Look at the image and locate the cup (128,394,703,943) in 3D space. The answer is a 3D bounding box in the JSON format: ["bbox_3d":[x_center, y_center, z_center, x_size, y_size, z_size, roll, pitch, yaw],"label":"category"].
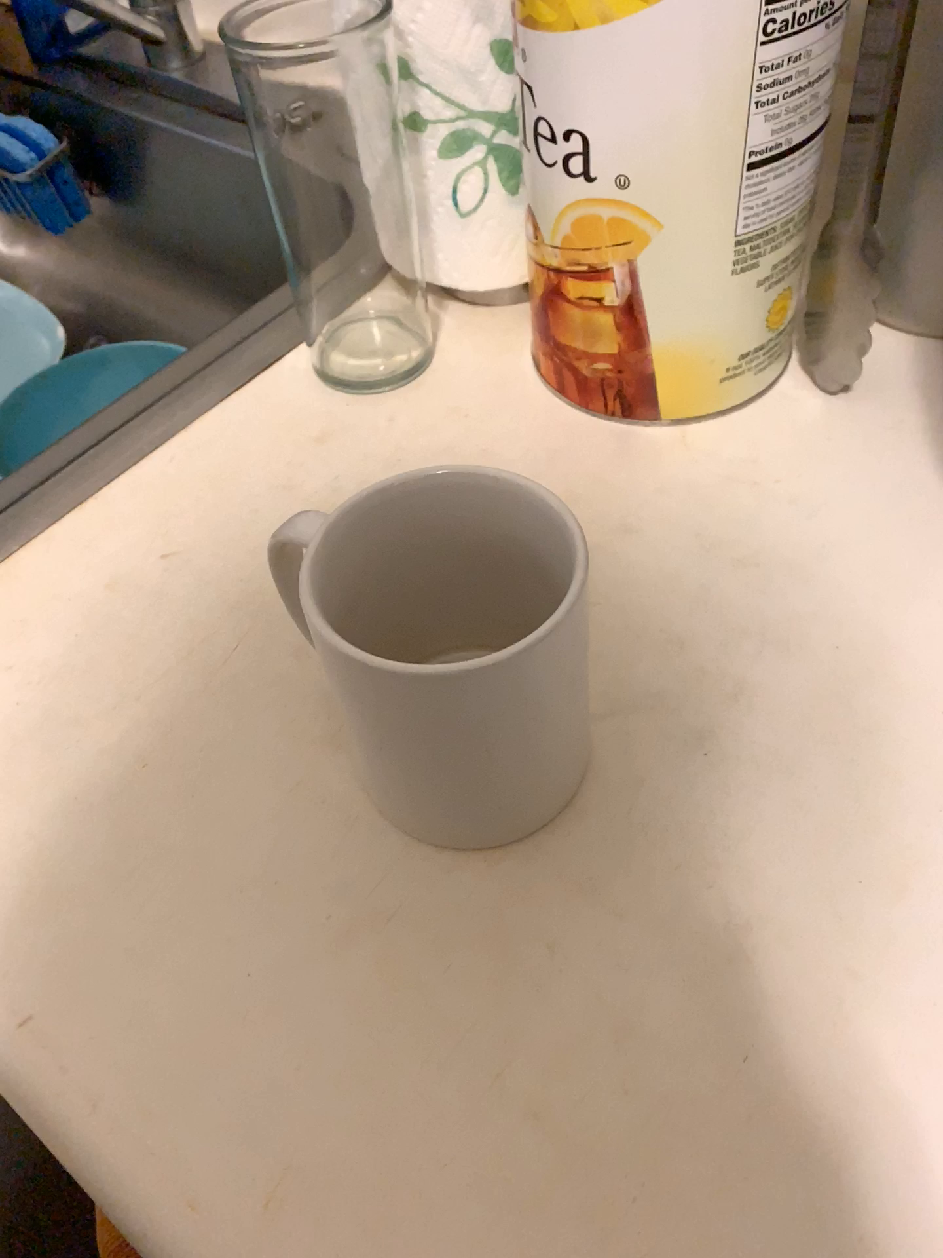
[{"bbox_3d":[-0.013,0.011,0.322,0.140,0.110,0.090,22,56,23],"label":"cup"}]
